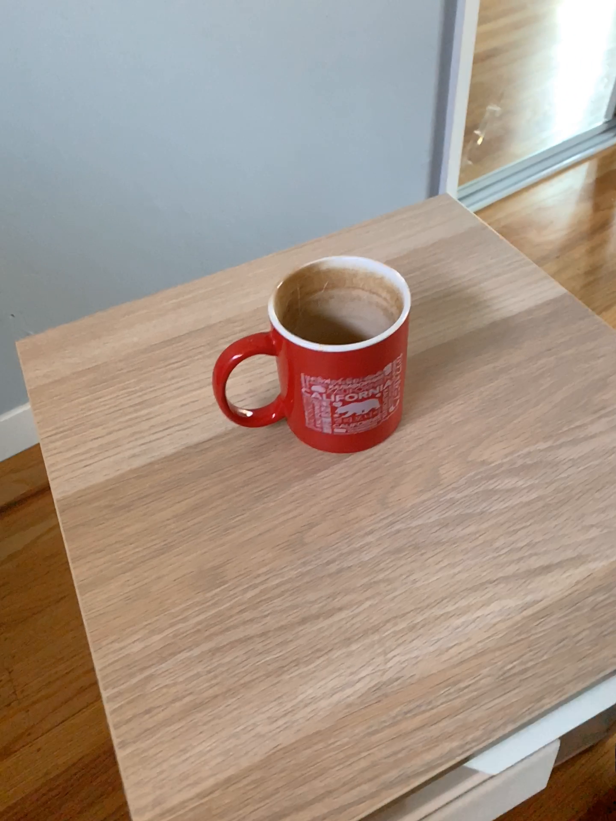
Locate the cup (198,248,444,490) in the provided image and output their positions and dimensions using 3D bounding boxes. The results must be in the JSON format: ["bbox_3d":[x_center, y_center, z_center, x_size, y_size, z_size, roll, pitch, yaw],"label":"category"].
[{"bbox_3d":[0.008,-0.024,0.388,0.120,0.100,0.070,-16,51,-9],"label":"cup"}]
